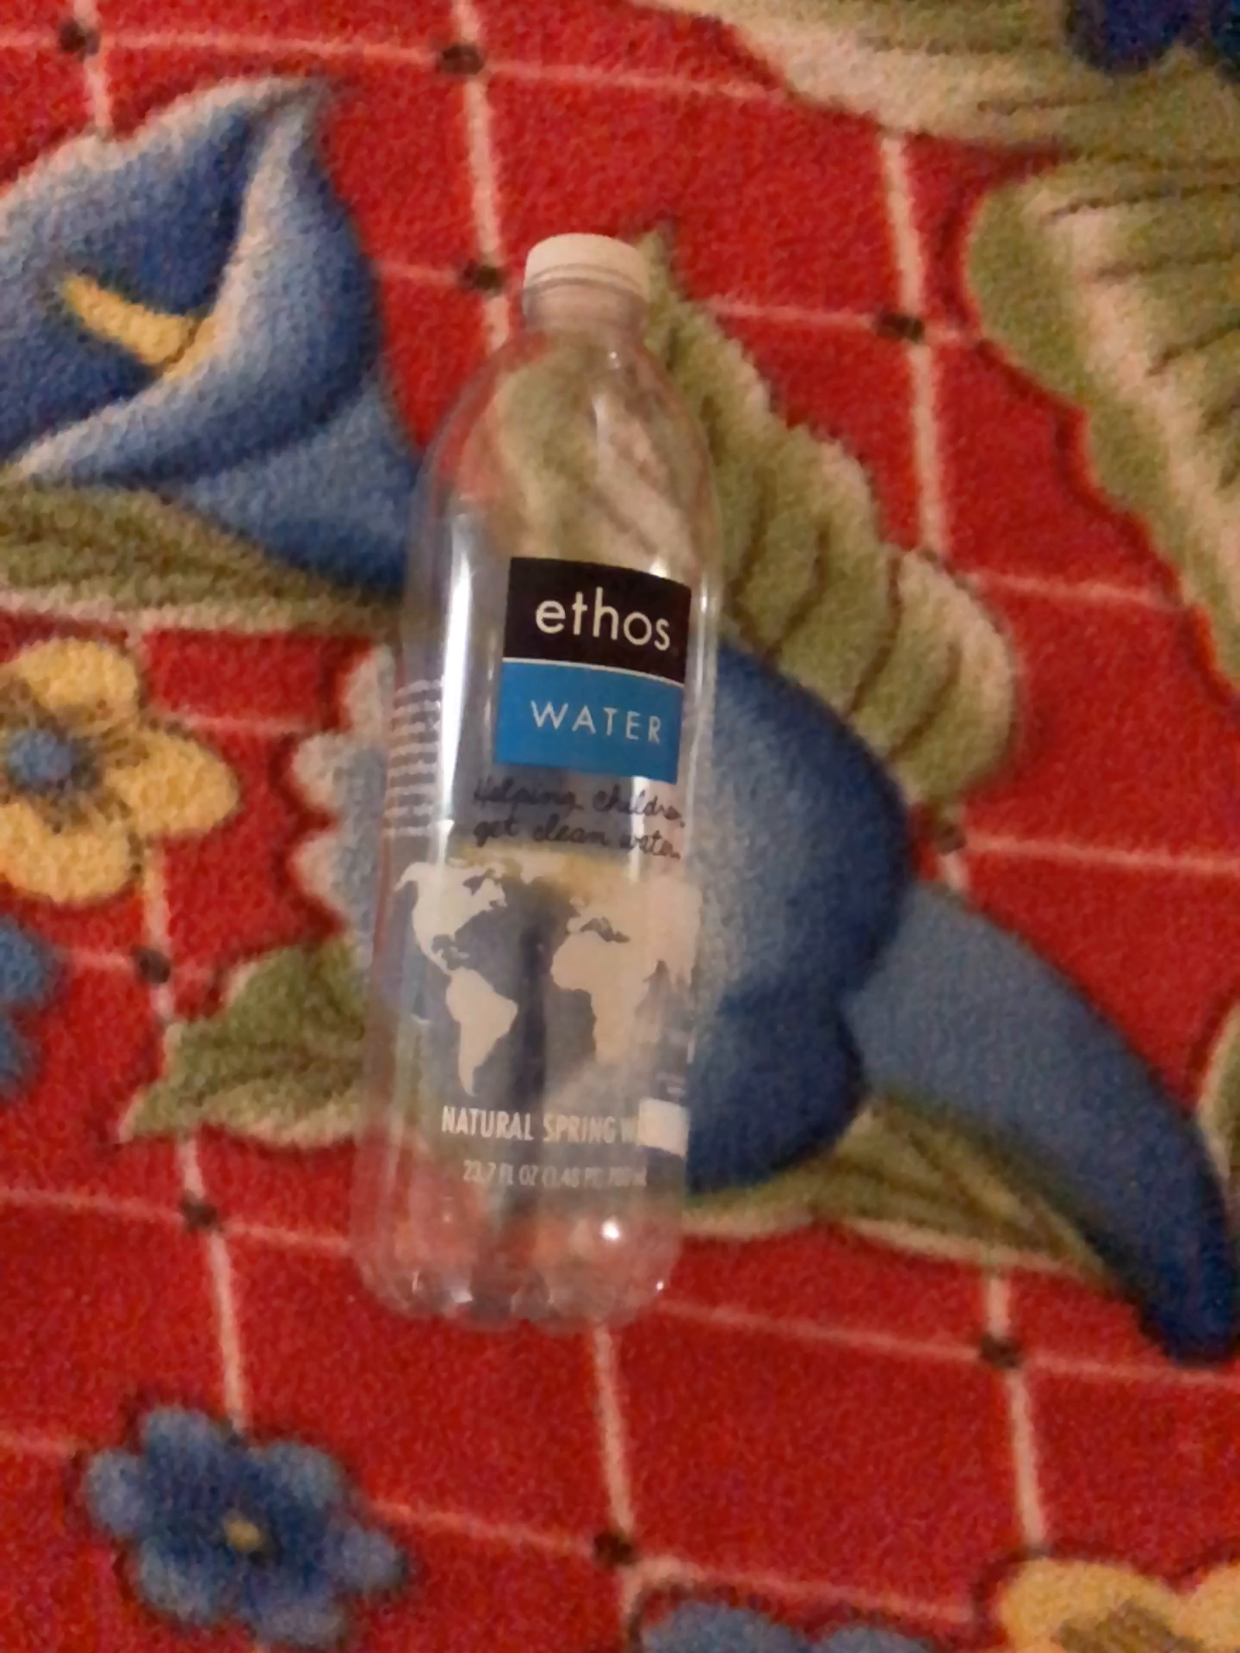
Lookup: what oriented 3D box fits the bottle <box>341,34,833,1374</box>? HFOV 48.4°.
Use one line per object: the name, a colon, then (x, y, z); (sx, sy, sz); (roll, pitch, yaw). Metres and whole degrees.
bottle: (-0.010, -0.021, 0.290); (0.070, 0.070, 0.240); (5, 88, -18)
